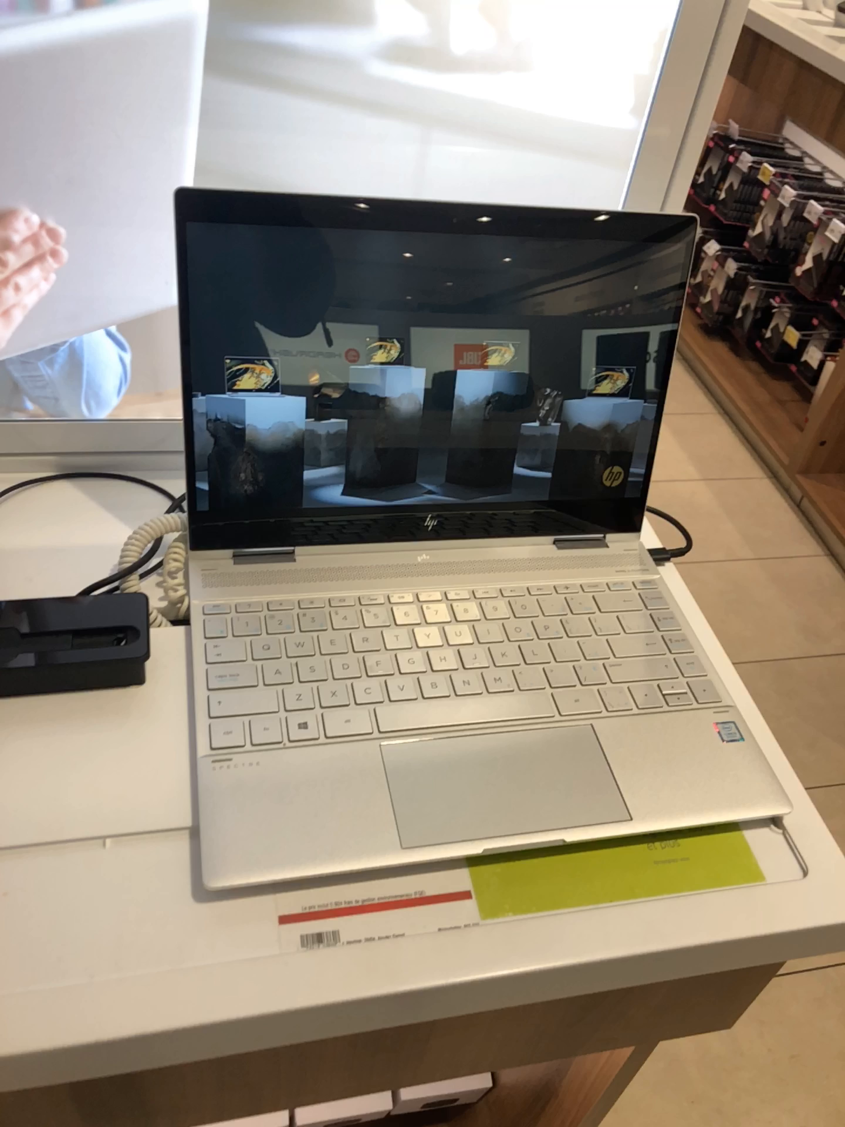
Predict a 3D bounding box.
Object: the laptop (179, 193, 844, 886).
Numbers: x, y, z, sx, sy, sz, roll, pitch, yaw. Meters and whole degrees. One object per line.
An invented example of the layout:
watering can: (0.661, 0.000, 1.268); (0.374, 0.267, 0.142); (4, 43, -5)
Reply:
laptop: (0.034, -0.033, 0.483); (0.299, 0.193, 0.283); (-3, 43, -14)
